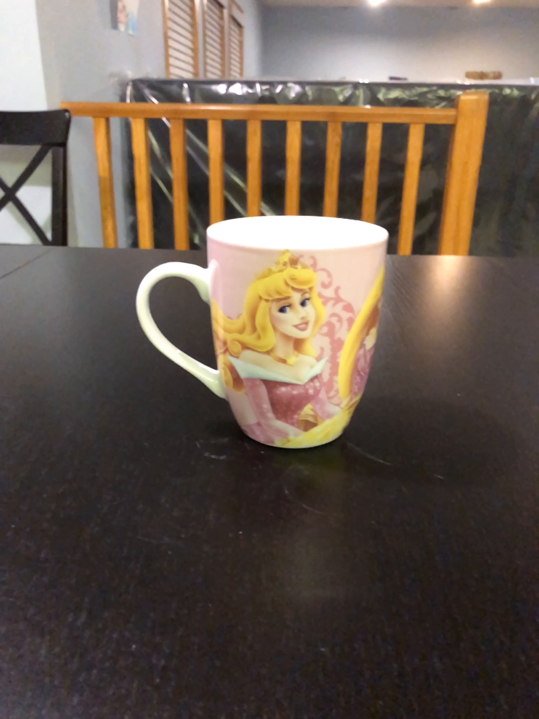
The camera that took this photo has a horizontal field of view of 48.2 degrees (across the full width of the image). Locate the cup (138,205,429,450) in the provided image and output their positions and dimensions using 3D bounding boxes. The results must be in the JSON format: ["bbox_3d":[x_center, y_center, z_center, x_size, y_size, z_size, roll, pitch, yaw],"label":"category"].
[{"bbox_3d":[0.003,-0.021,0.307,0.120,0.100,0.090,0,21,-3],"label":"cup"}]
